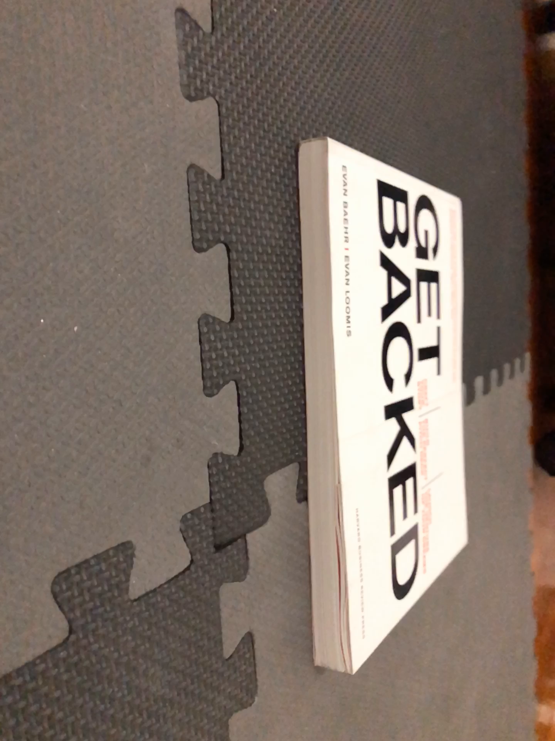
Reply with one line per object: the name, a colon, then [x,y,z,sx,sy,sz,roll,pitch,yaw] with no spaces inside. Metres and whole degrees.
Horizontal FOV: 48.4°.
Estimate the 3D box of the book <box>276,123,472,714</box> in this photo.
book: [0.071,0.016,0.362,0.211,0.020,0.260,-9,98,-56]
